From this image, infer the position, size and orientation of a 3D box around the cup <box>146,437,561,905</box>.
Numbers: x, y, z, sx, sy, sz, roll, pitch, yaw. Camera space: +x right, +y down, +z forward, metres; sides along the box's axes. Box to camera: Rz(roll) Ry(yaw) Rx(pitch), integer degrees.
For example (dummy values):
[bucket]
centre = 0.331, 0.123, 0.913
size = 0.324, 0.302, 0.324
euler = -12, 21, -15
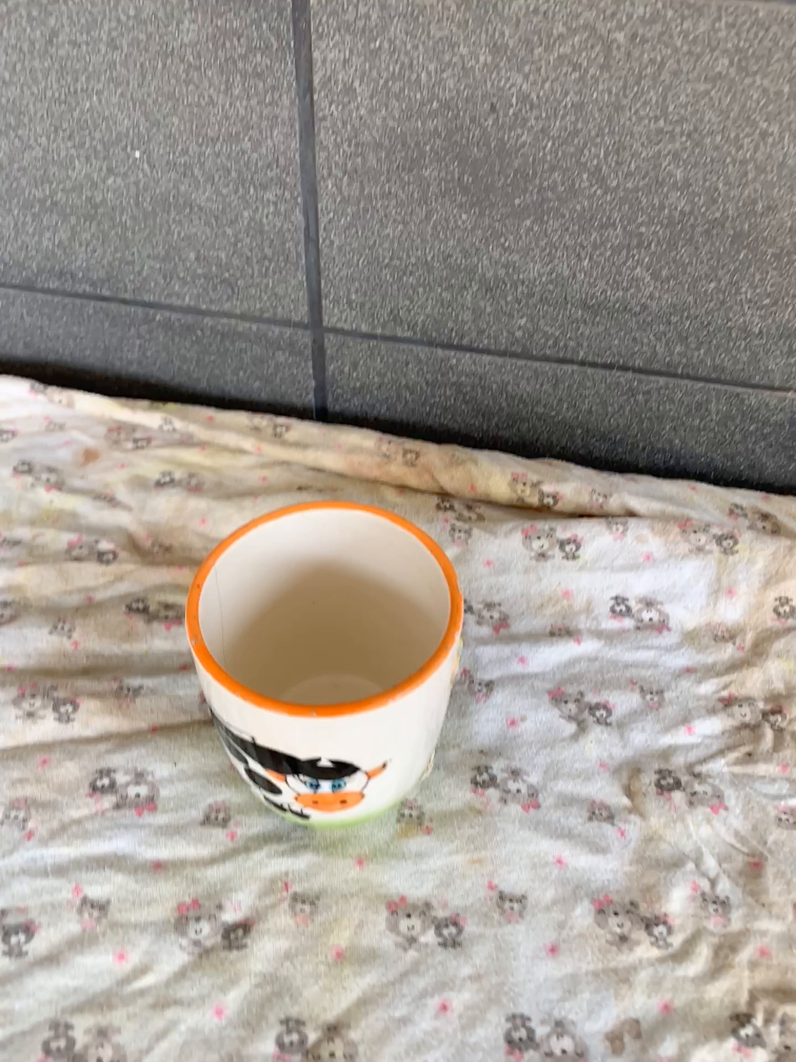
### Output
[cup]
centre = -0.011, 0.042, 0.254
size = 0.080, 0.090, 0.080
euler = 1, 47, -1
